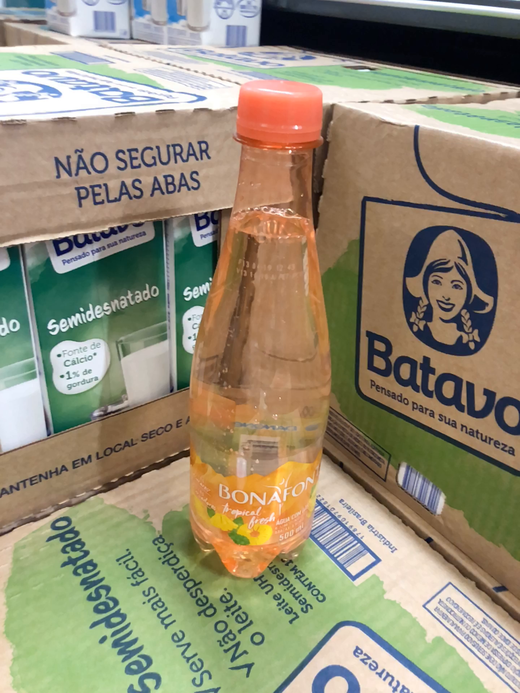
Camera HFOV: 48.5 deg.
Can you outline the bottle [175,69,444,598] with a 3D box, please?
[{"bbox_3d":[0.005,0.008,0.259,0.080,0.228,0.071,3,31,-4],"label":"bottle"}]
